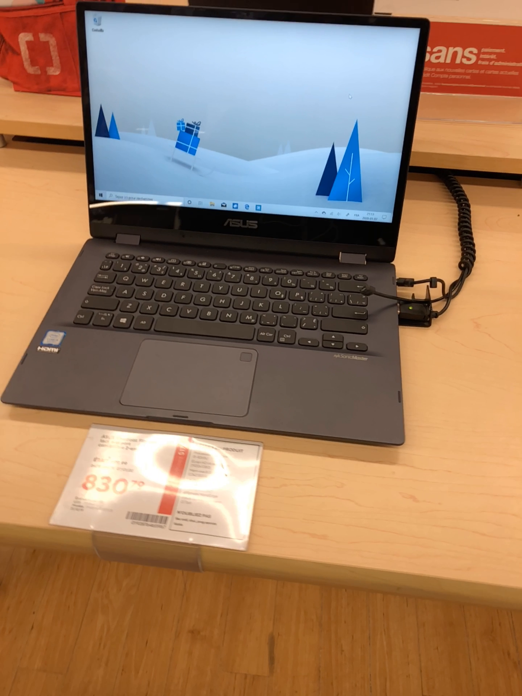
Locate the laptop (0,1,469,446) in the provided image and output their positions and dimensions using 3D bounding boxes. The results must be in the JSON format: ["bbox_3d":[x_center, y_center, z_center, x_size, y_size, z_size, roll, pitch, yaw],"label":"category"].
[{"bbox_3d":[-0.030,-0.123,0.480,0.312,0.188,0.314,6,48,5],"label":"laptop"}]
